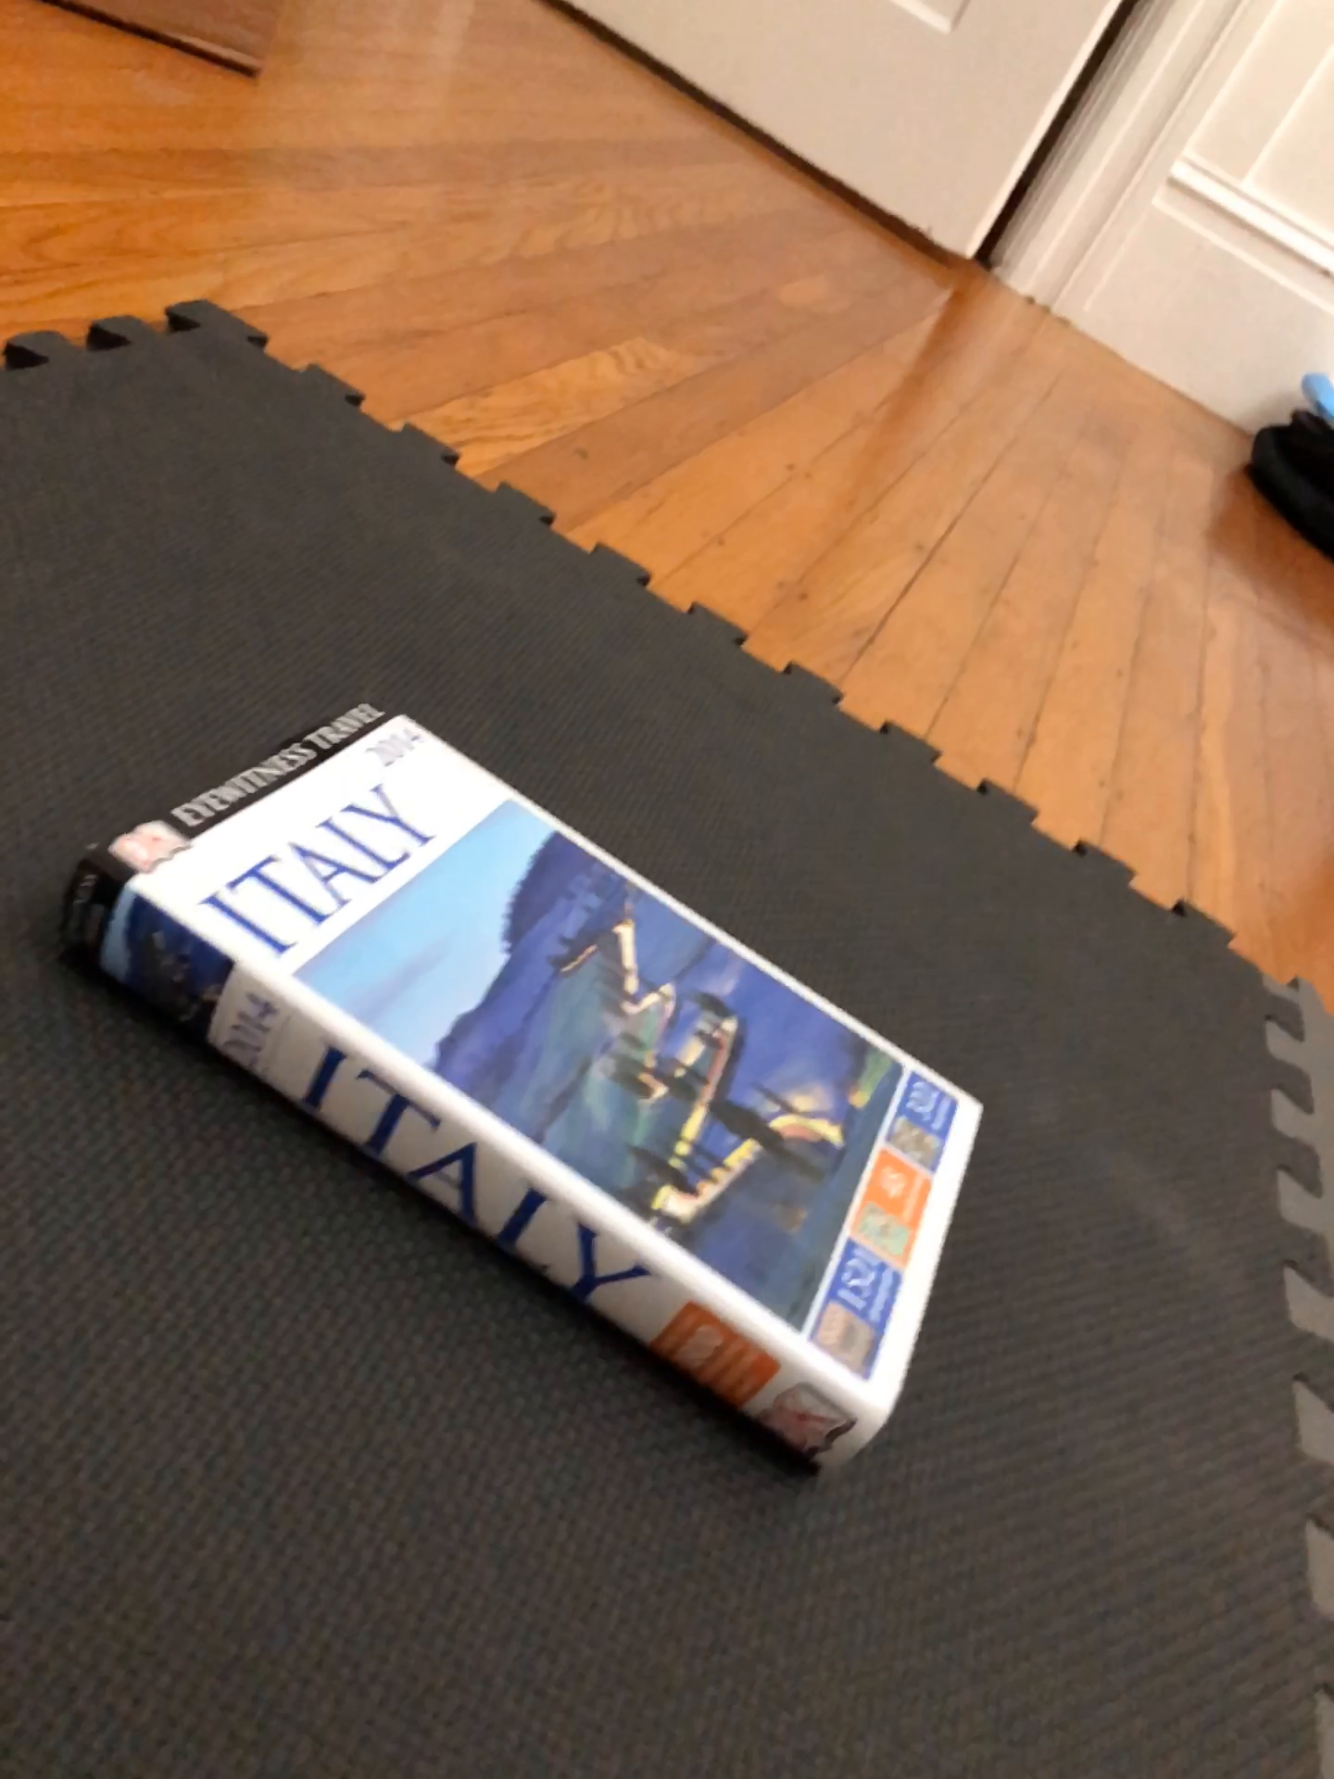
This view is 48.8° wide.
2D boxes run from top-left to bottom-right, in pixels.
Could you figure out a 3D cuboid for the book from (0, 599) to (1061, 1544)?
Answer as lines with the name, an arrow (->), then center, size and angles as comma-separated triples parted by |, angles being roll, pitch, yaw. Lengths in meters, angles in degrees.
book -> -0.022, 0.028, 0.388 | 0.250, 0.040, 0.161 | 33, 33, 3
